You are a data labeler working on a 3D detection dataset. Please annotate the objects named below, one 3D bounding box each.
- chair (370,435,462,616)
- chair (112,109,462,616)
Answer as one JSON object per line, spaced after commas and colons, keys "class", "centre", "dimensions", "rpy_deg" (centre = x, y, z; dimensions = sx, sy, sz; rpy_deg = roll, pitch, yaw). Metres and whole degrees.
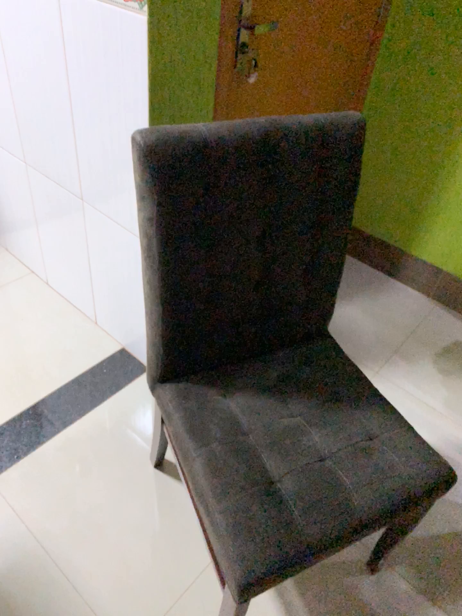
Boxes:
{"class": "chair", "centre": [0.660, 0.744, 0.485], "dimensions": [0.572, 0.971, 0.523], "rpy_deg": [34, 48, 27]}
{"class": "chair", "centre": [0.105, 0.201, 1.000], "dimensions": [0.491, 0.981, 0.574], "rpy_deg": [-15, 46, -23]}
